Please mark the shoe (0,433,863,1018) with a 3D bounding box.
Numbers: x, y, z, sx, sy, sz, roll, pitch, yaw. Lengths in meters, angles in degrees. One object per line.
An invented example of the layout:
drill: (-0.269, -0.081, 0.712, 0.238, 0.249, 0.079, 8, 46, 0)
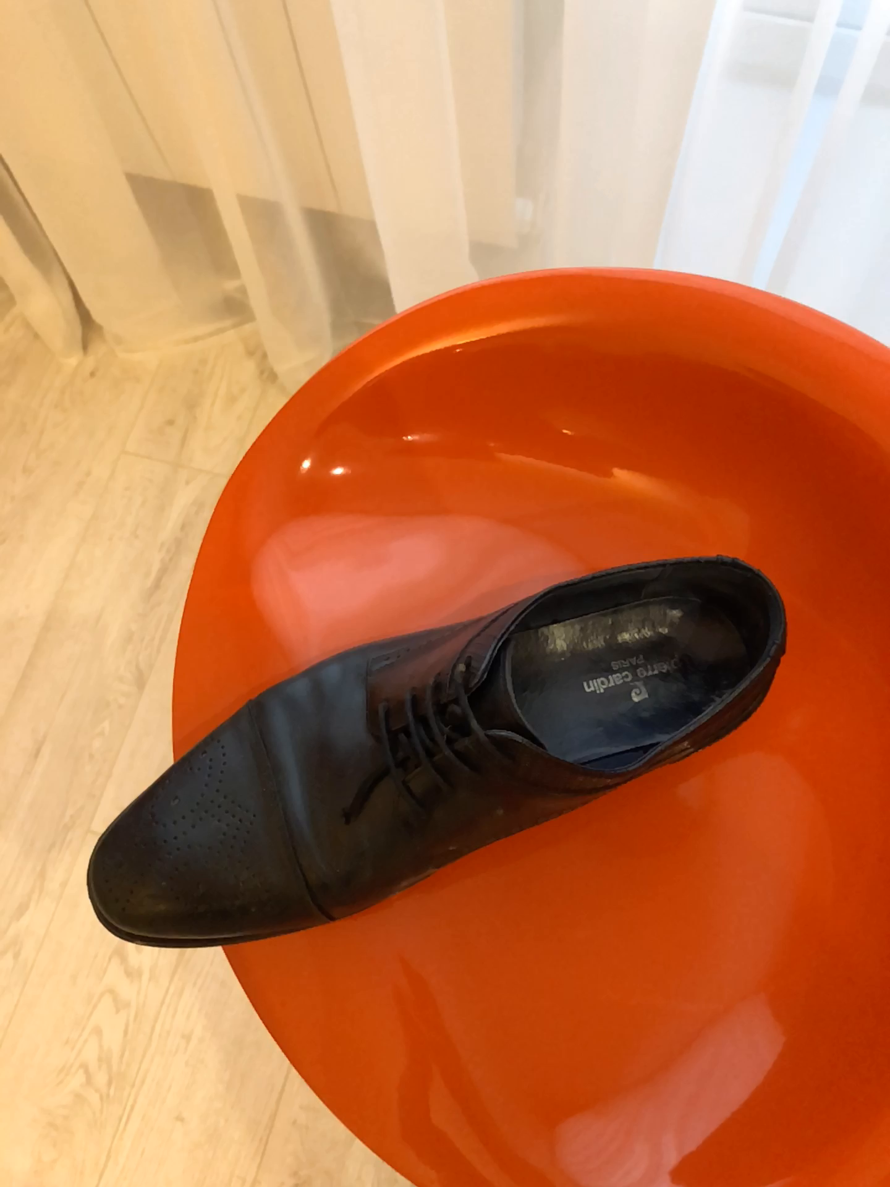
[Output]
shoe: (-0.010, 0.053, 0.397, 0.300, 0.080, 0.120, -20, 69, -4)
